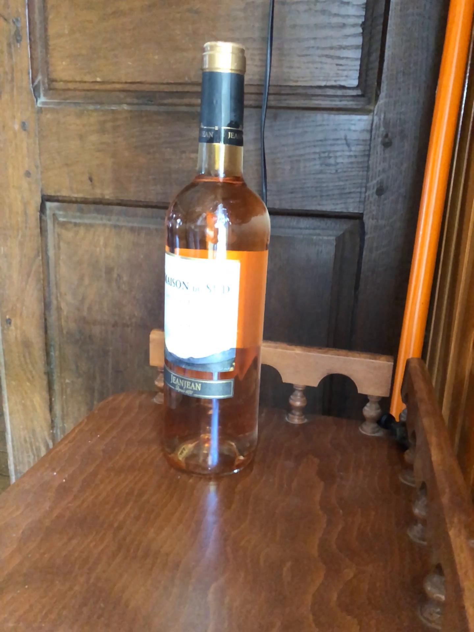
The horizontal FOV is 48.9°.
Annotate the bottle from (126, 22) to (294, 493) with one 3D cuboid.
[{"bbox_3d":[-0.020,-0.033,0.365,0.080,0.289,0.070,11,18,28],"label":"bottle"}]
